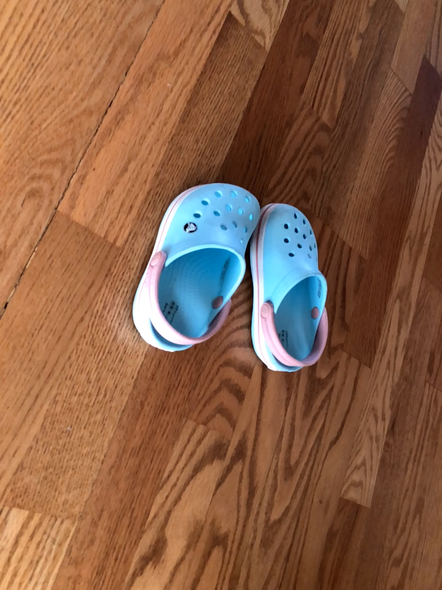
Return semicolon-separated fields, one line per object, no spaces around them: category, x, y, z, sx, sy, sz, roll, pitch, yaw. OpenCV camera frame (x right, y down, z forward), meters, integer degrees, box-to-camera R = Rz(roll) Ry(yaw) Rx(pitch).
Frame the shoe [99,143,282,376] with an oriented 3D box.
shoe;-0.020;-0.027;0.404;0.083;0.057;0.165;33;67;-31

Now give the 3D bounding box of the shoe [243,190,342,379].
shoe;0.068;-0.007;0.465;0.083;0.048;0.165;4;83;-37
